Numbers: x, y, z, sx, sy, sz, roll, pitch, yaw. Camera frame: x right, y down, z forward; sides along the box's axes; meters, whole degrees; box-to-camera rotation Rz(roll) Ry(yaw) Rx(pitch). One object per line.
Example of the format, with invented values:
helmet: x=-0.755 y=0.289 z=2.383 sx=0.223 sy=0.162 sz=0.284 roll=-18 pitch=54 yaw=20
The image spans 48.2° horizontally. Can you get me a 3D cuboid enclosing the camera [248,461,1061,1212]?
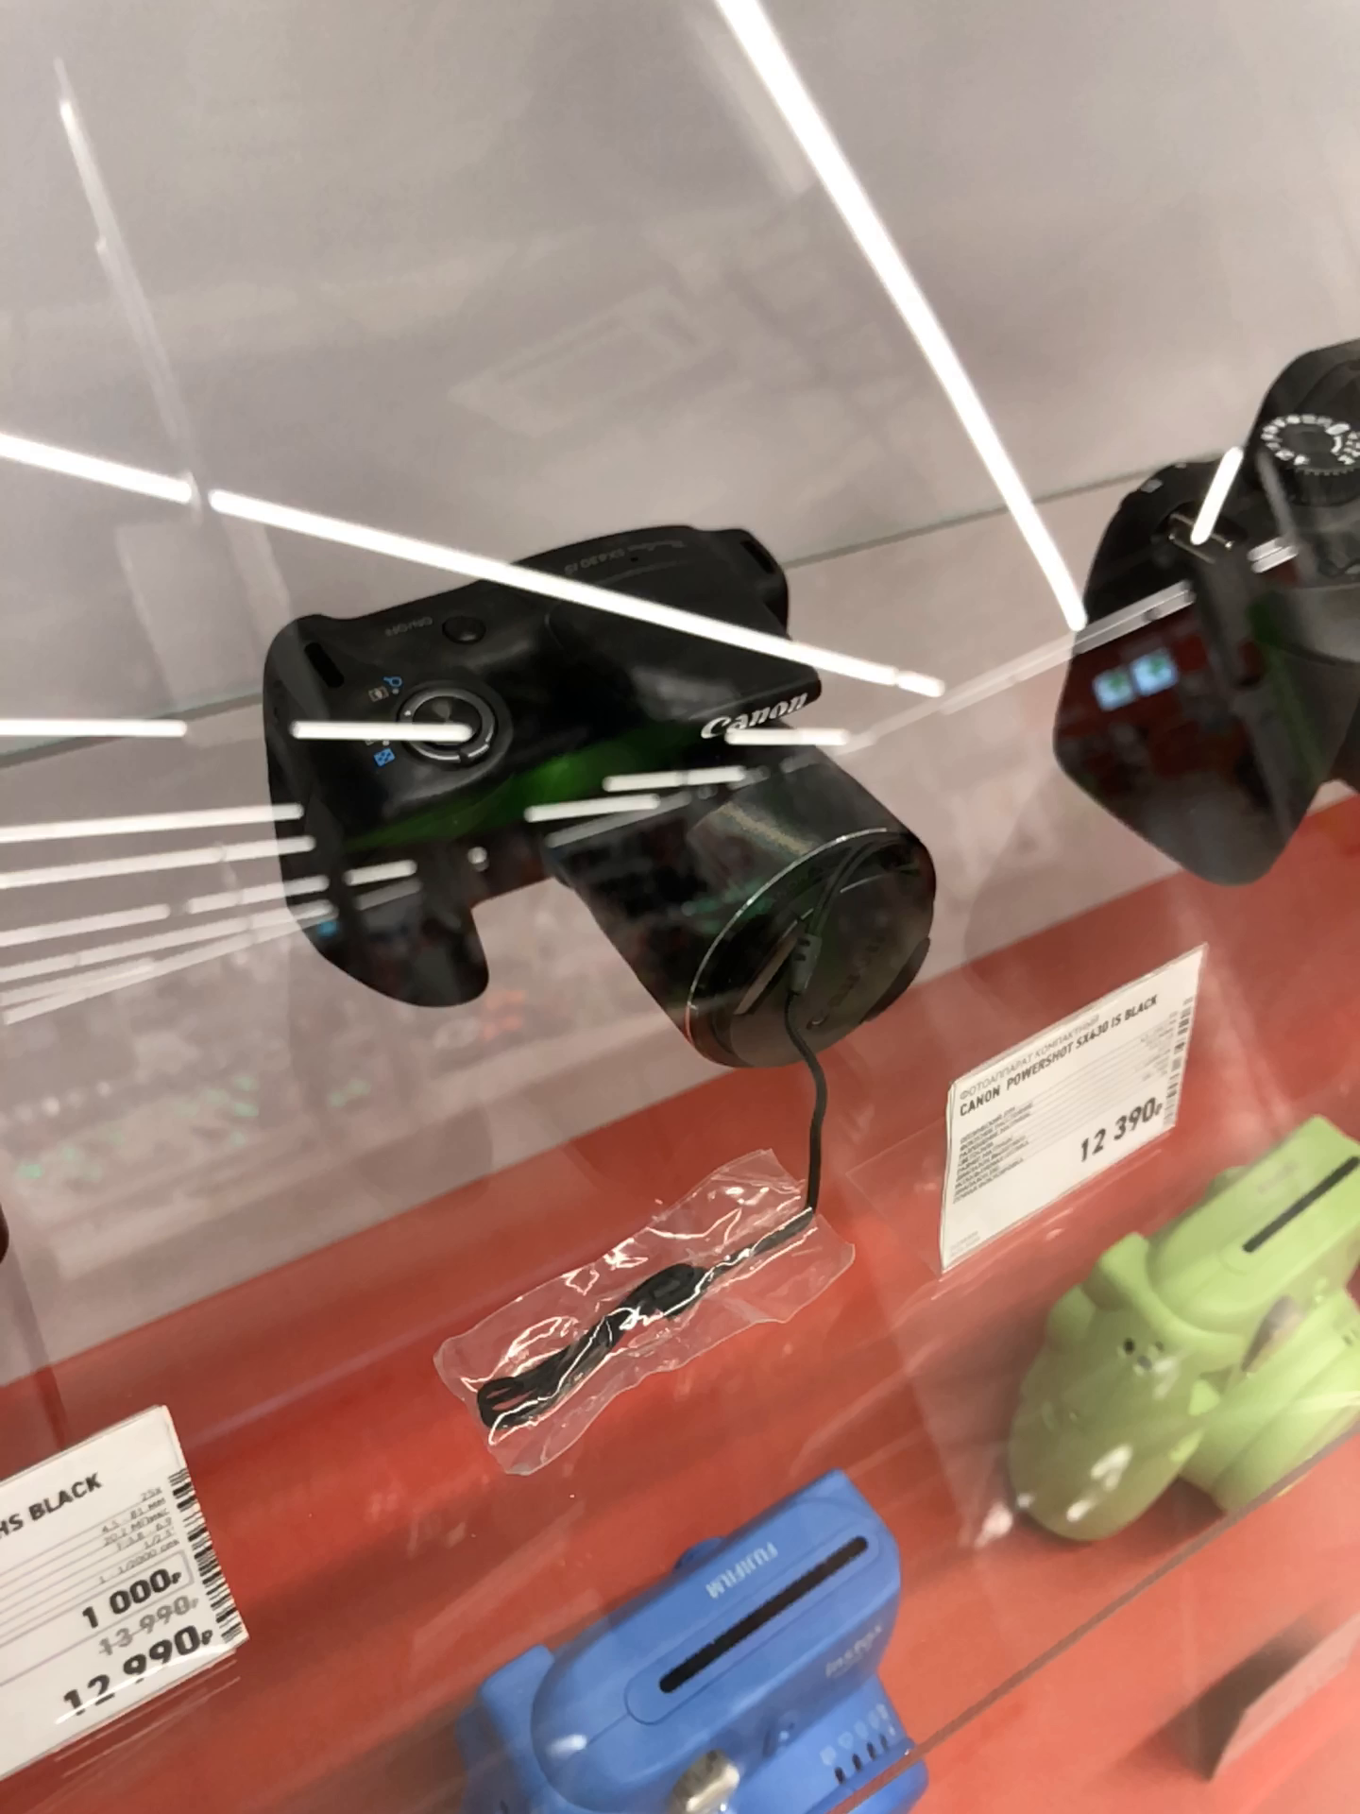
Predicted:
camera: x=-0.009 y=-0.019 z=0.289 sx=0.113 sy=0.080 sz=0.086 roll=-20 pitch=51 yaw=-27
